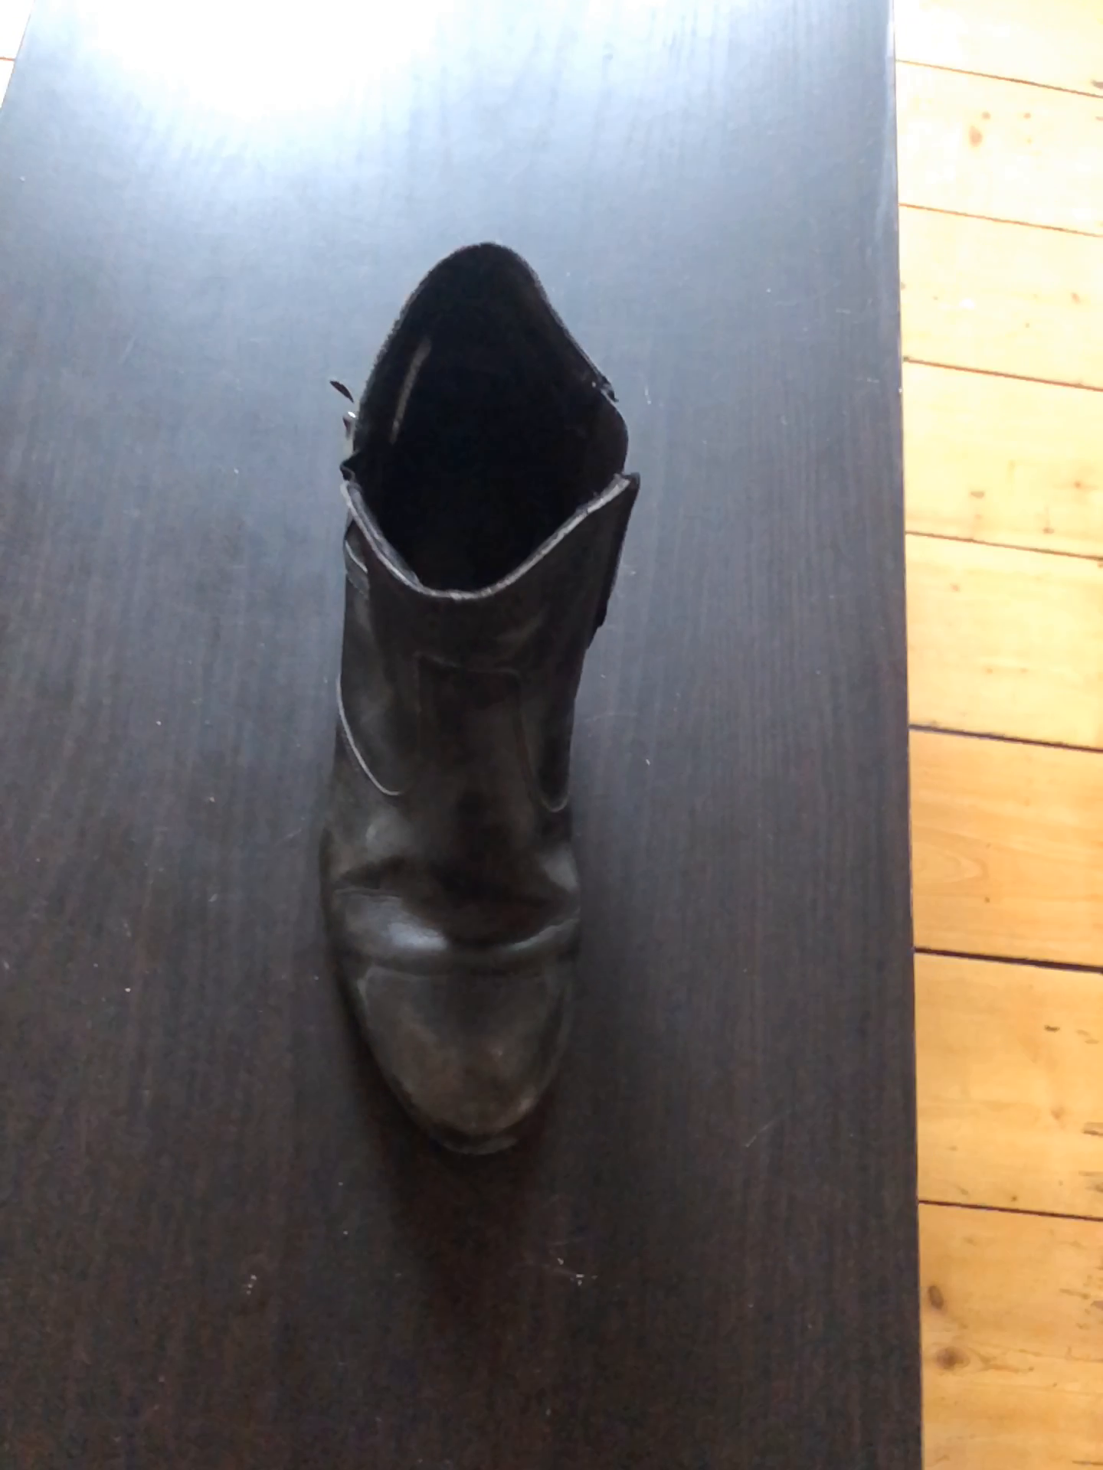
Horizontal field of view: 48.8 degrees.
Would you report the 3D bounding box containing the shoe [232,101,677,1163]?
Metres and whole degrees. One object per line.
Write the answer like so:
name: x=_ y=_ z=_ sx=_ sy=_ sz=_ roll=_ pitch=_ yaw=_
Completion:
shoe: x=-0.029 y=-0.016 z=0.370 sx=0.090 sy=0.170 sz=0.271 roll=1 pitch=71 yaw=-6
